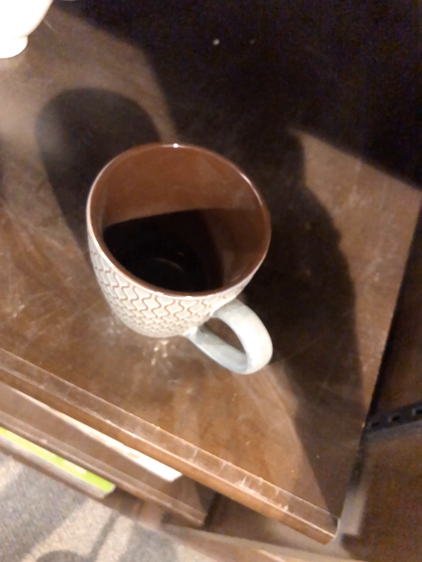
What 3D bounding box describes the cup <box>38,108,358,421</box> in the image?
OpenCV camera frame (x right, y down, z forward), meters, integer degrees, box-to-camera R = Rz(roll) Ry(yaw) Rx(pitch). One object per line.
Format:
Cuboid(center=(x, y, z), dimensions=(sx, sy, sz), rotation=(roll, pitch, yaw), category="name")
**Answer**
Cuboid(center=(-0.012, -0.003, 0.275), dimensions=(0.132, 0.098, 0.085), rotation=(41, 66, 7), category="cup")
